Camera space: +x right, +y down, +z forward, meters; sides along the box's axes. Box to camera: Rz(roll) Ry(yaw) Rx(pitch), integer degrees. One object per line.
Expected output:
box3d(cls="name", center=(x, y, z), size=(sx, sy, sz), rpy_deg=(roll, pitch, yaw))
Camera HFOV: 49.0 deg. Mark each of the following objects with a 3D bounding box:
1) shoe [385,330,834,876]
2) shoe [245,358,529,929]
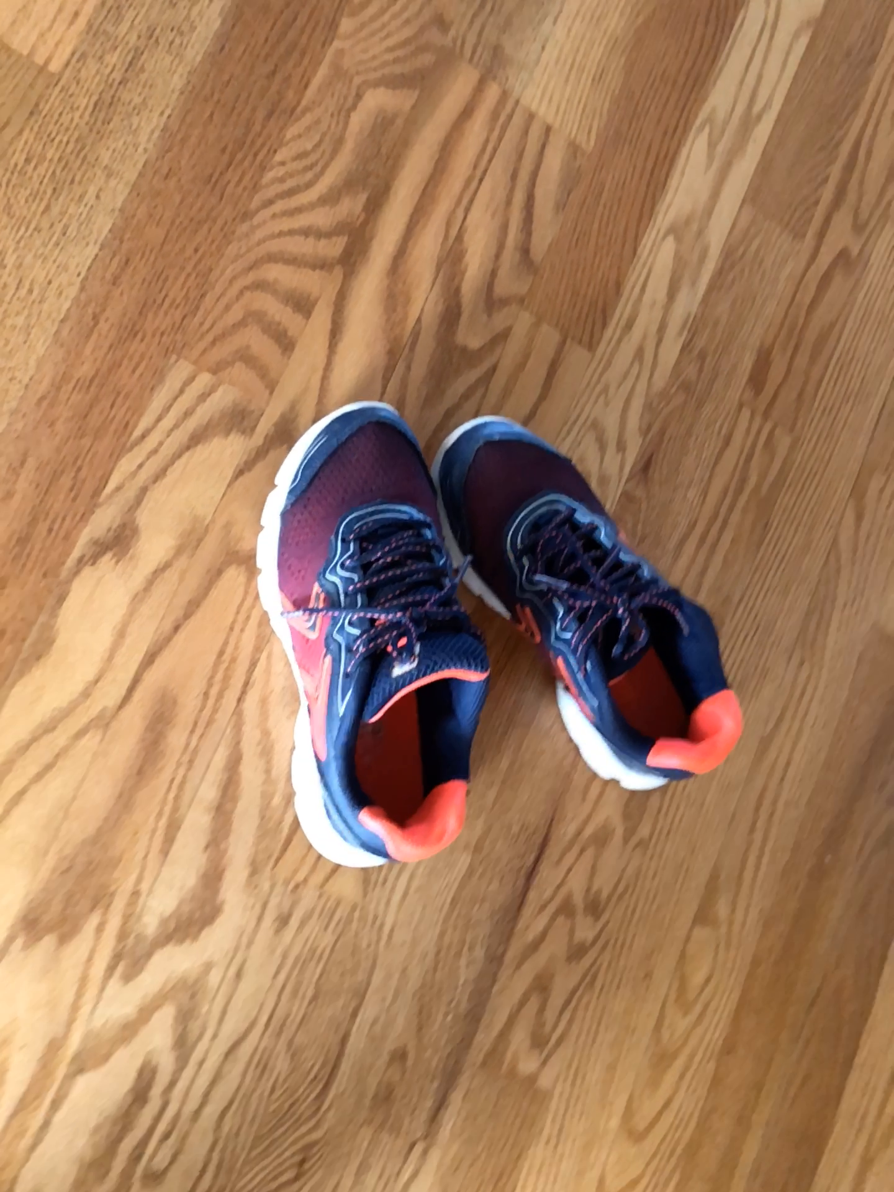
box3d(cls="shoe", center=(0.095, 0.006, 0.586), size=(0.116, 0.110, 0.277), rpy_deg=(-32, 99, -20))
box3d(cls="shoe", center=(-0.037, 0.021, 0.533), size=(0.108, 0.110, 0.270), rpy_deg=(-4, 89, -22))
